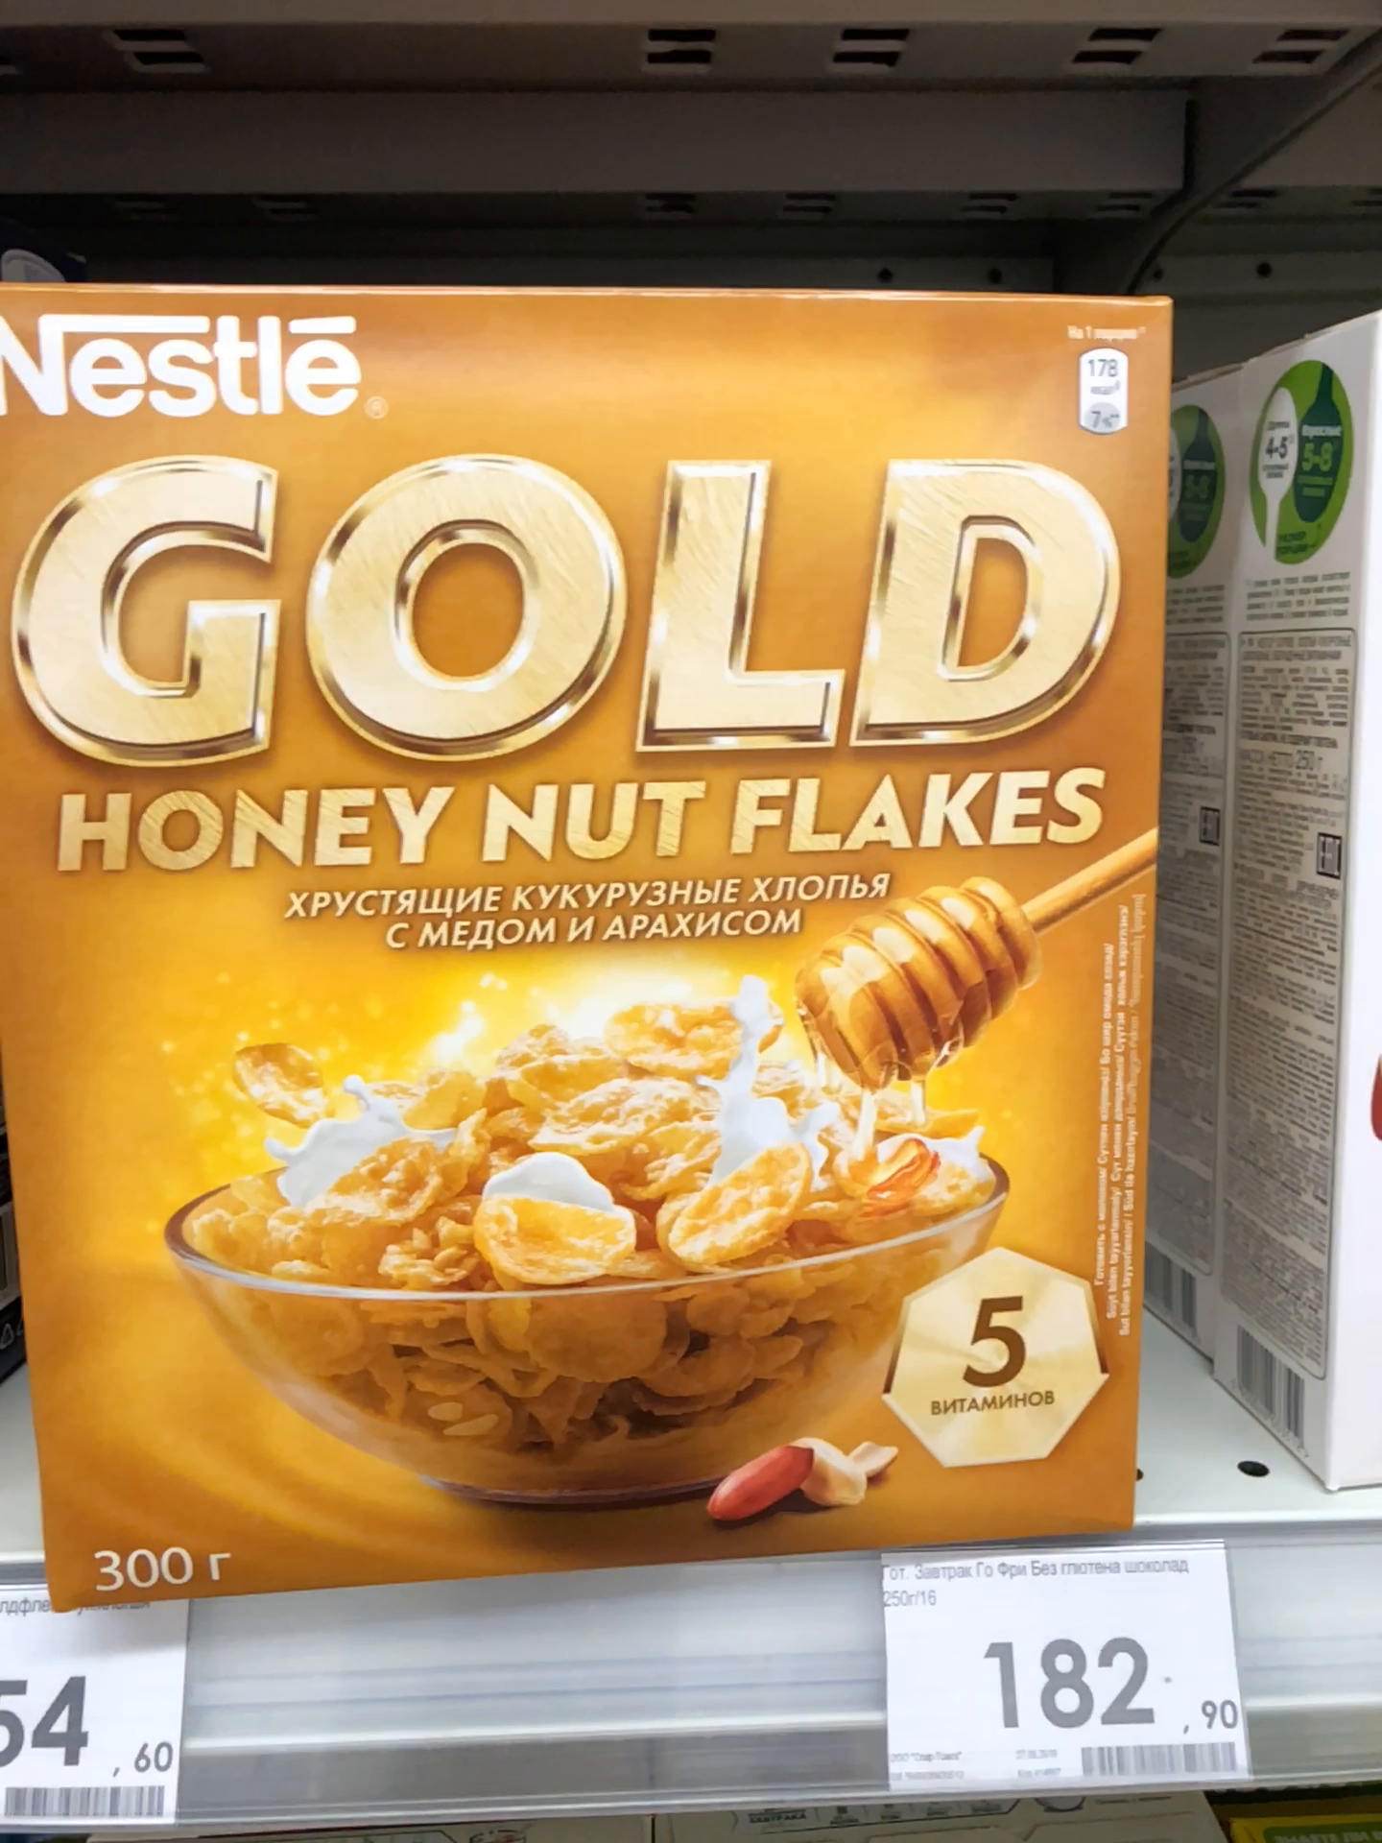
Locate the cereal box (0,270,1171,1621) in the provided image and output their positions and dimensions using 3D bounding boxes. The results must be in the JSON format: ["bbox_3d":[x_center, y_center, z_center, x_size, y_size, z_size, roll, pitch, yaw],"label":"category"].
[{"bbox_3d":[-0.018,0.004,0.279,0.190,0.219,0.050,-2,8,-5],"label":"cereal box"}]
